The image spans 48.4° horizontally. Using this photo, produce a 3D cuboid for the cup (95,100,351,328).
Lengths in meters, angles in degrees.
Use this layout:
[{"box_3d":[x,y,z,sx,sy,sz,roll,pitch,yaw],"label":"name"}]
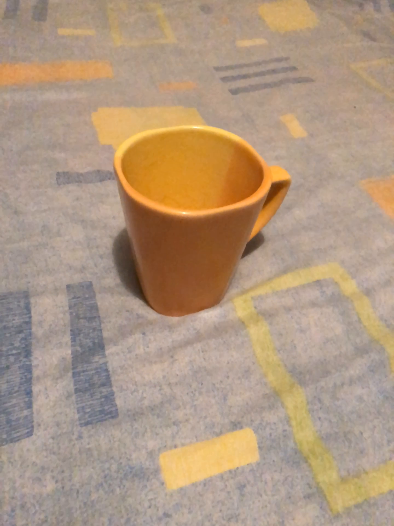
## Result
[{"box_3d":[0.008,-0.033,0.261,0.111,0.082,0.084,-13,50,-18],"label":"cup"}]
